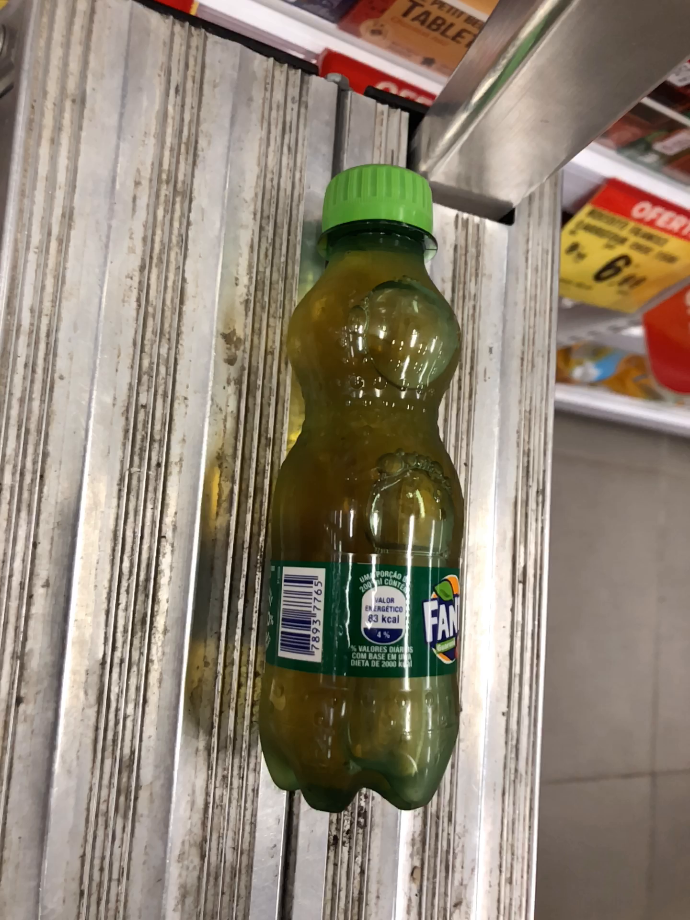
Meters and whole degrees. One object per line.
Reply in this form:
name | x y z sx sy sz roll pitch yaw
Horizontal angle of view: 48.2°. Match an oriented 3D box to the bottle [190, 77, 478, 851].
bottle | 0.003 -0.002 0.198 0.050 0.050 0.170 1 81 17
